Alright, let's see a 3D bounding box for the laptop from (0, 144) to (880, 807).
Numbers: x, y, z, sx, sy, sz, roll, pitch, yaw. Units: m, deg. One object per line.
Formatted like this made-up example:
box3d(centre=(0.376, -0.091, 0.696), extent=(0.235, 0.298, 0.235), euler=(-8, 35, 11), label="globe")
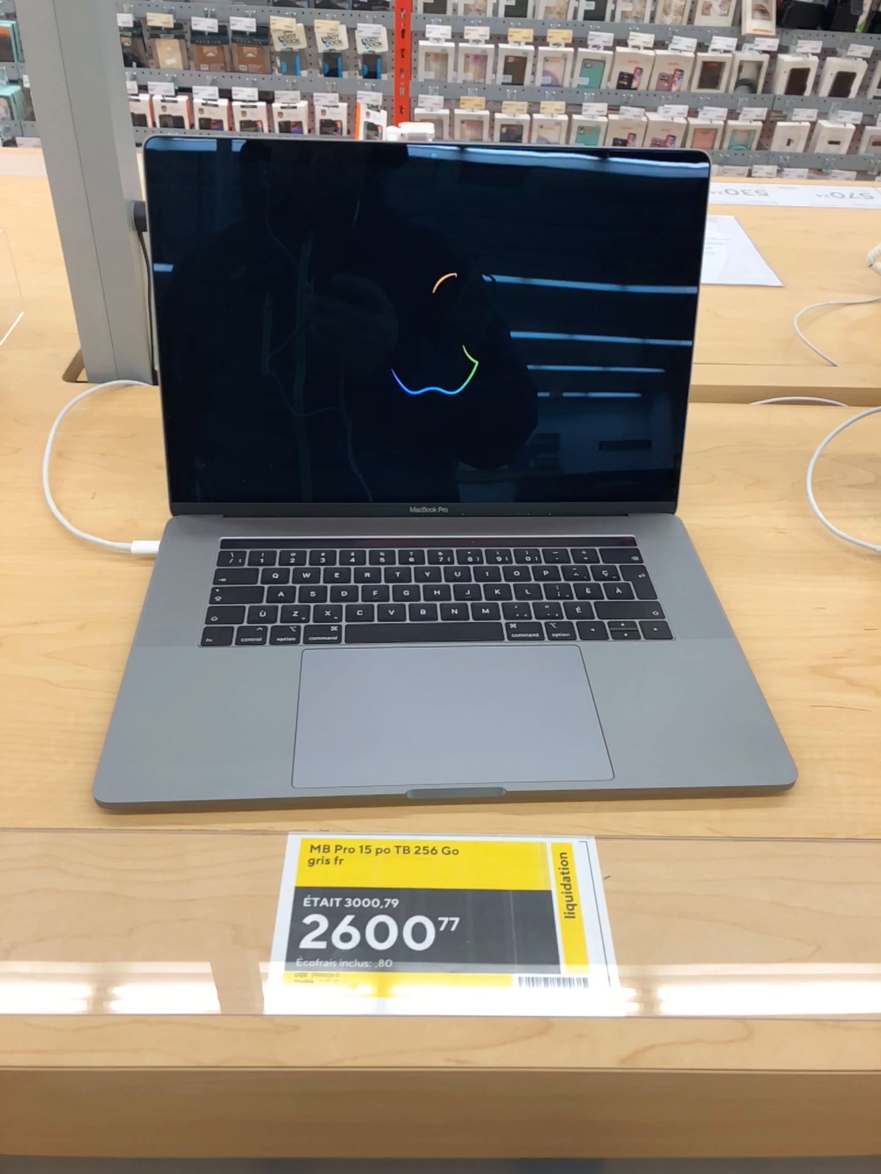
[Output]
box3d(centre=(0.003, -0.079, 0.515), extent=(0.329, 0.212, 0.299), euler=(-1, 38, -5), label="laptop")
